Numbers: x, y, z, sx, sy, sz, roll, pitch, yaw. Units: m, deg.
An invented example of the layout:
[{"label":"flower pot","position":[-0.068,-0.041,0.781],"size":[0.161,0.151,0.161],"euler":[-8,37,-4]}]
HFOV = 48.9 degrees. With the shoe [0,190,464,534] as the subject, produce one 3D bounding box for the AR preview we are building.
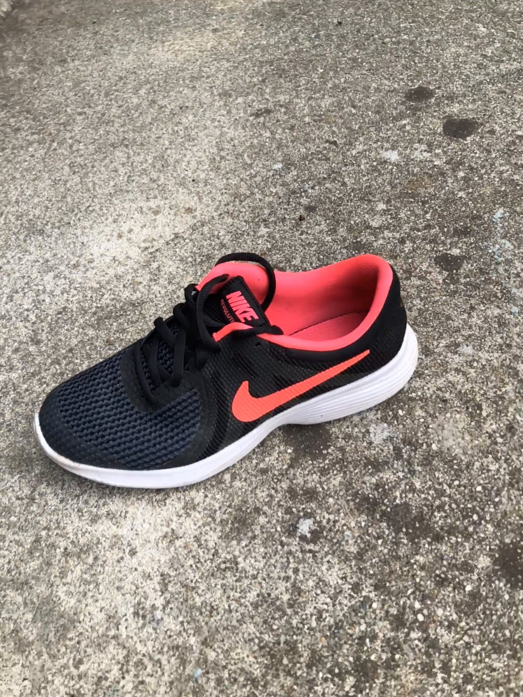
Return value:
[{"label":"shoe","position":[-0.029,0.008,0.370],"size":[0.272,0.100,0.110],"euler":[-17,51,-3]}]
